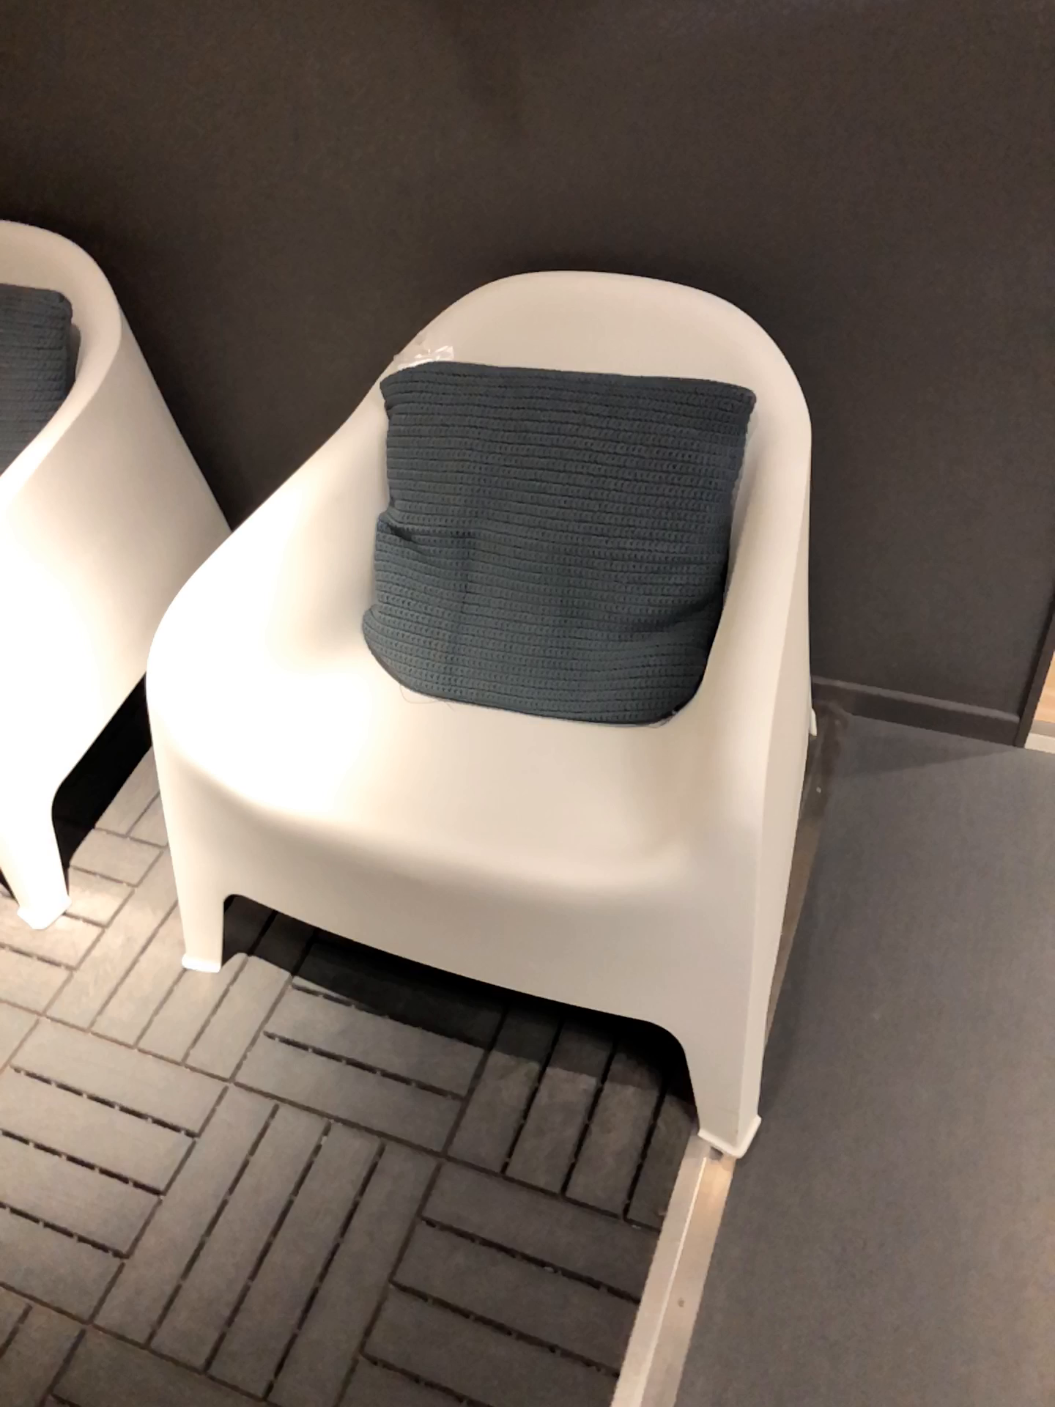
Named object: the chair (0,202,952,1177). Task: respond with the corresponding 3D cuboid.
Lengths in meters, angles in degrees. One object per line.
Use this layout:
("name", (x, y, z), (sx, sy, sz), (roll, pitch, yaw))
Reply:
("chair", (-0.006, -0.069, 1.461), (0.831, 0.765, 0.784), (11, 46, 17))
